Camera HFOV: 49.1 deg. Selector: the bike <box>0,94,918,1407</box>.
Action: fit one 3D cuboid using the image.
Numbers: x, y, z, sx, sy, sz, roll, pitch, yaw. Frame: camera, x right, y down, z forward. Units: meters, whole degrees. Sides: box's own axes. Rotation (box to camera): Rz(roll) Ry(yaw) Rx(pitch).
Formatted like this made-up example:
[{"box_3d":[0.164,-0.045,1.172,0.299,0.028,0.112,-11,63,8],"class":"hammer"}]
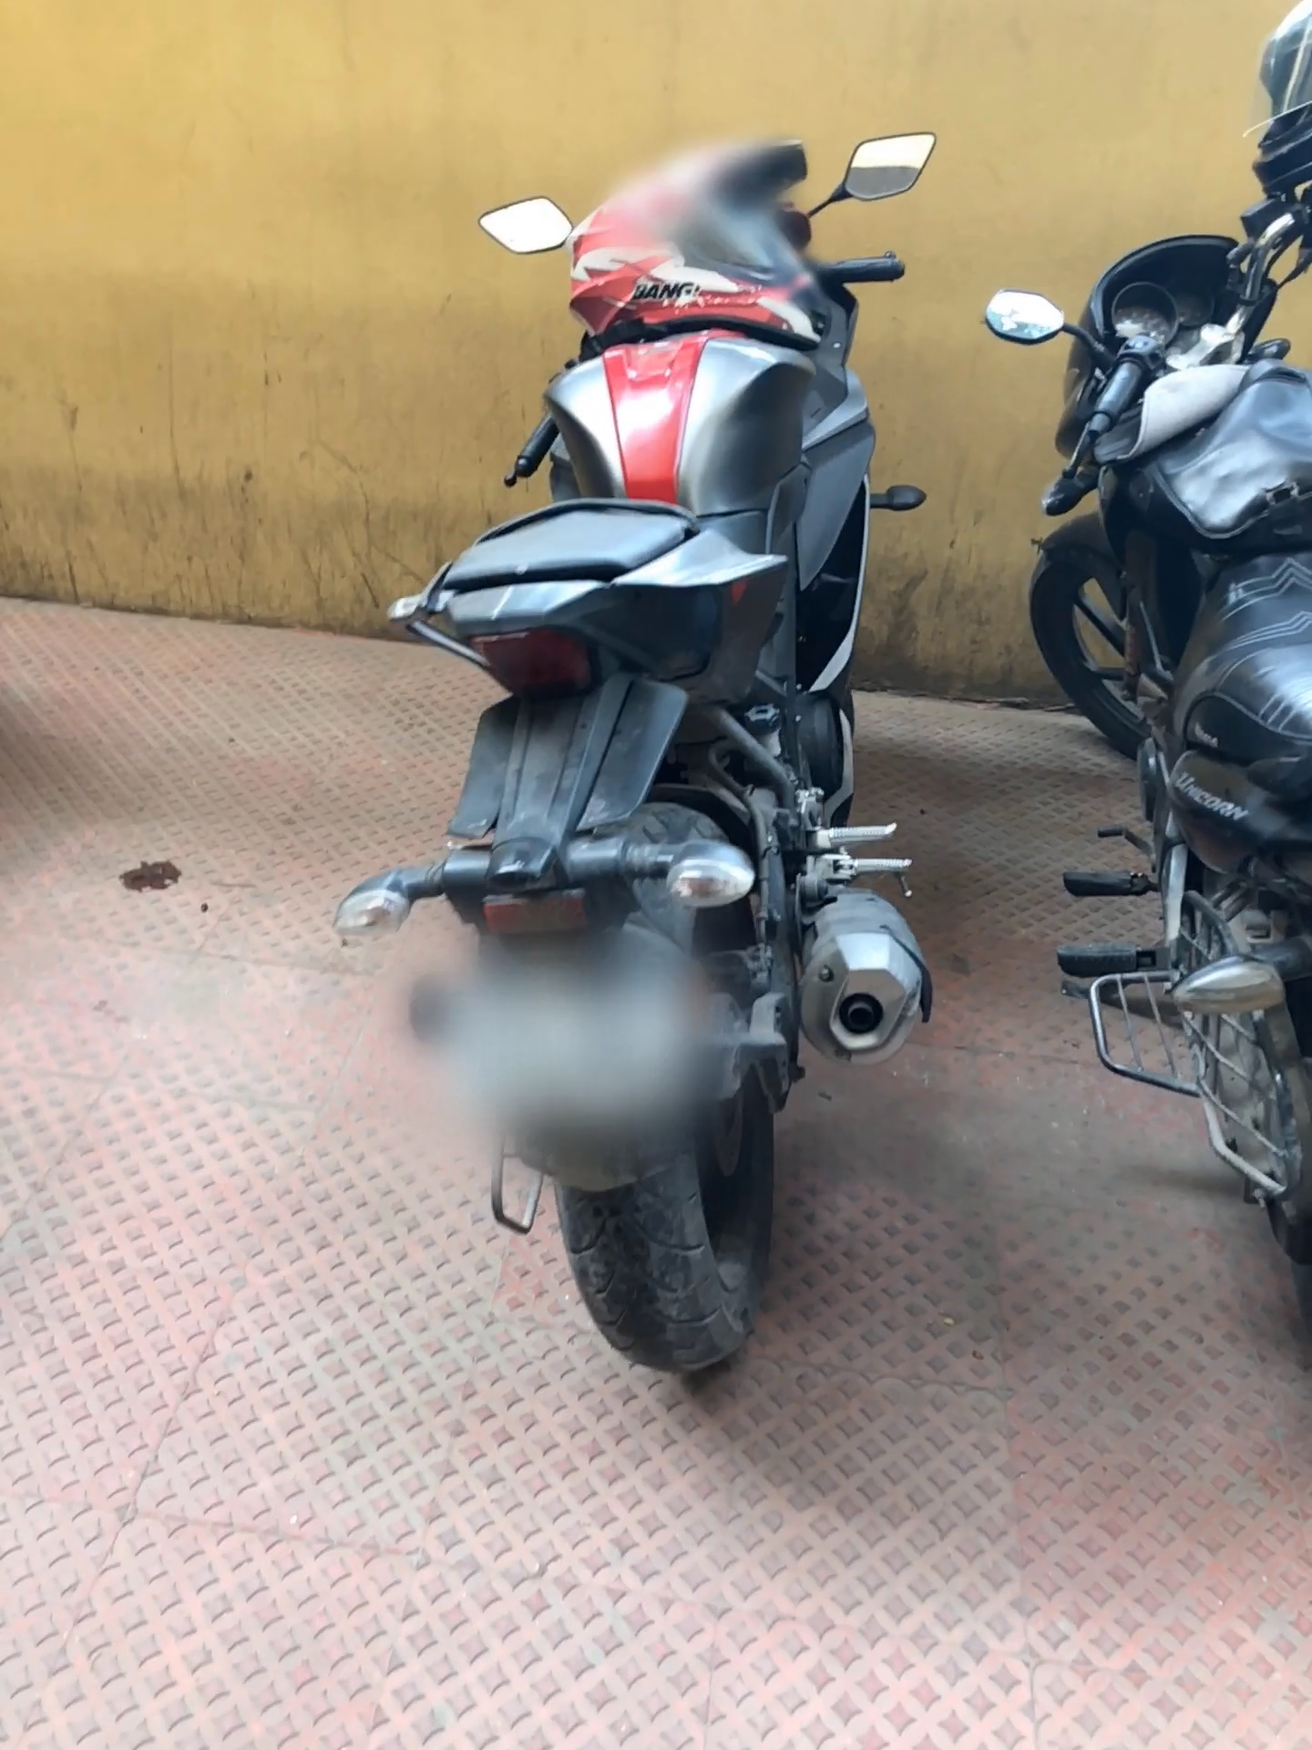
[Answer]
[{"box_3d":[-0.206,-0.398,1.972,0.725,0.870,1.754,3,36,-1],"class":"bike"}]
